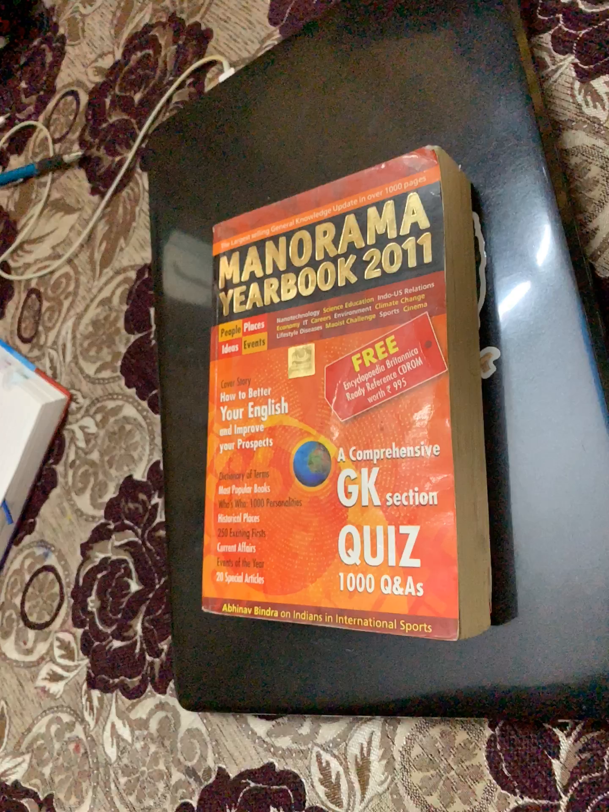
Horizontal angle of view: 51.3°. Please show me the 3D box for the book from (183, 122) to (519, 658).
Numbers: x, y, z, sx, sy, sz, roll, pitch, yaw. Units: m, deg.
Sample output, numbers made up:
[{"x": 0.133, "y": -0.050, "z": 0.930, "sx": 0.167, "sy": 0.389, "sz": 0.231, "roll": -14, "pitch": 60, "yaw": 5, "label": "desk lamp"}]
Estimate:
[{"x": 0.018, "y": -0.004, "z": 0.300, "sx": 0.140, "sy": 0.050, "sz": 0.210, "roll": -7, "pitch": 76, "yaw": 32, "label": "book"}]
